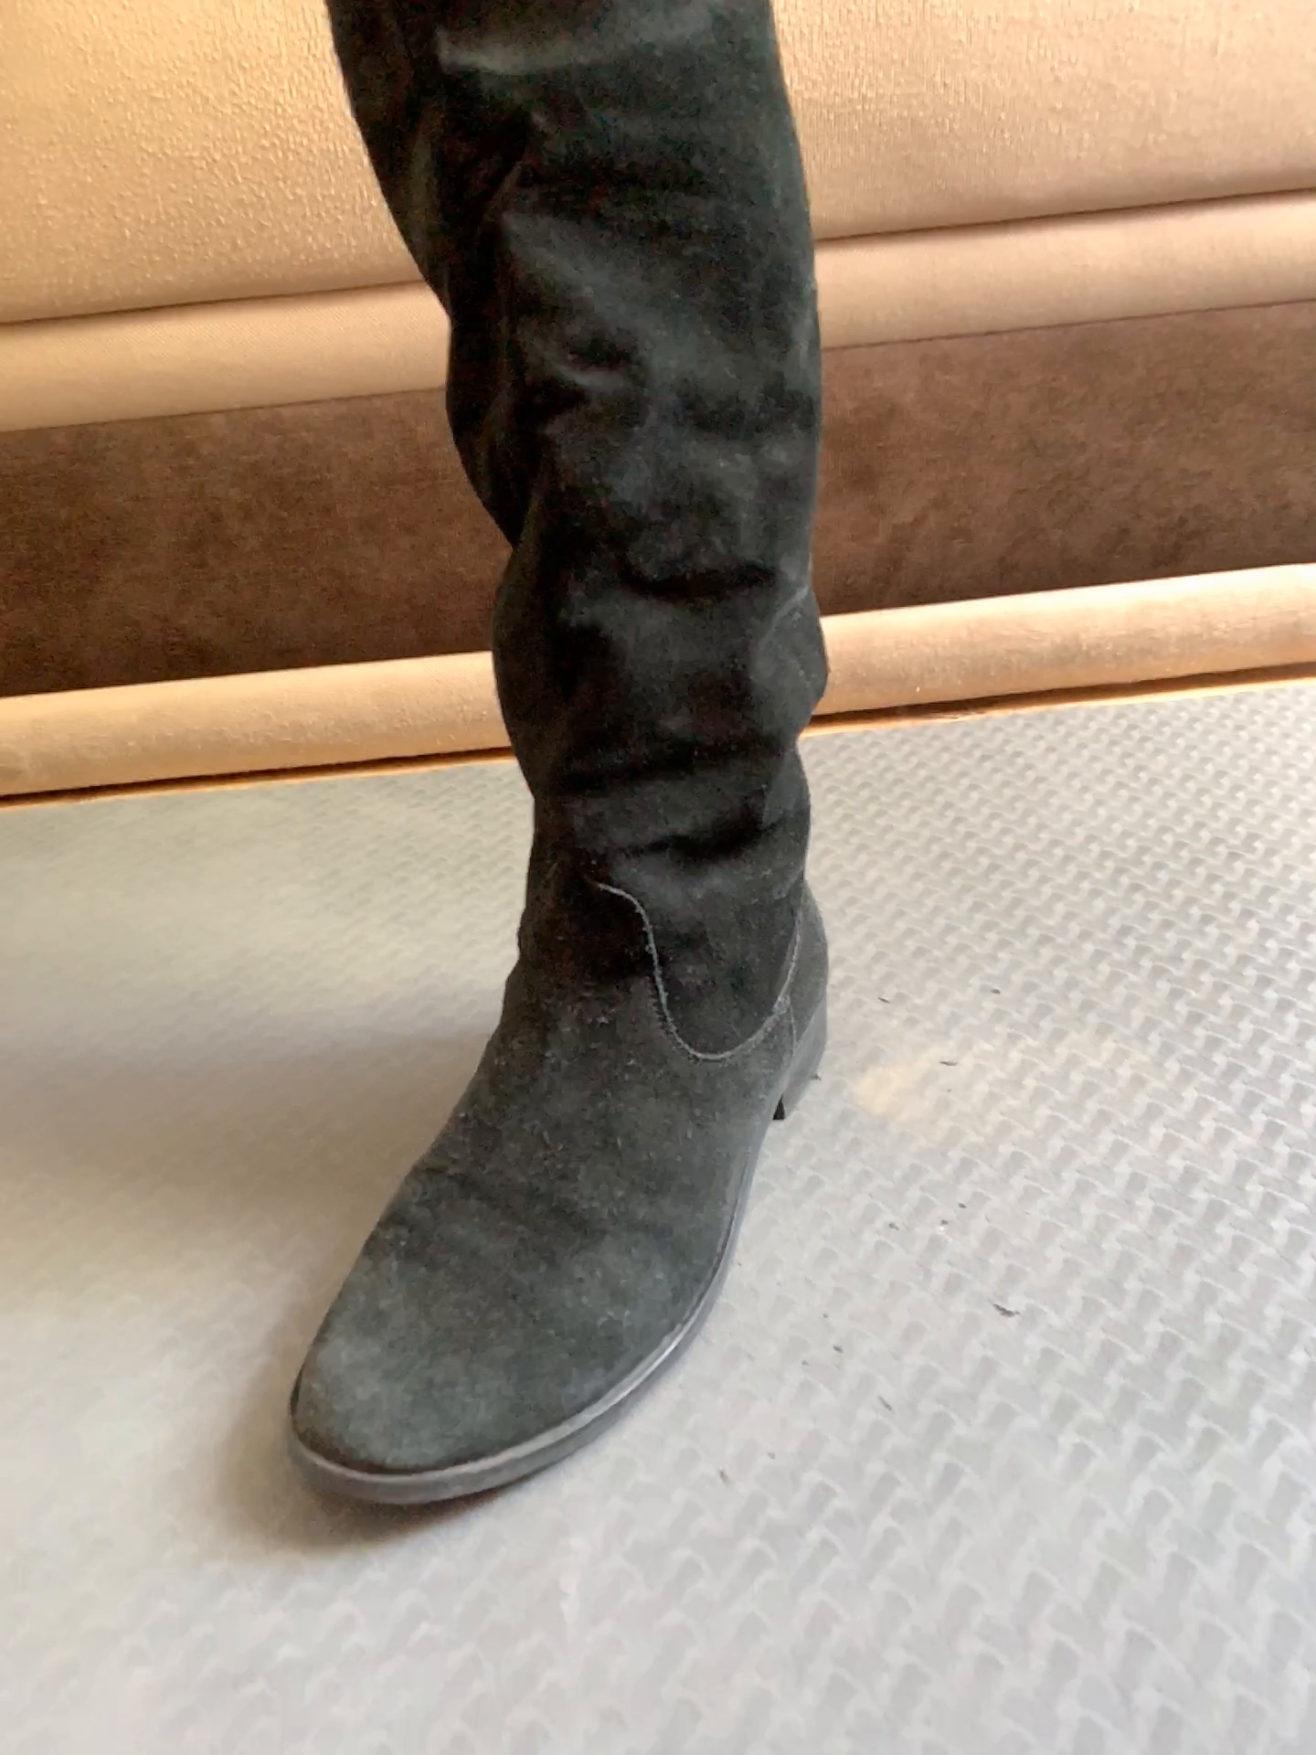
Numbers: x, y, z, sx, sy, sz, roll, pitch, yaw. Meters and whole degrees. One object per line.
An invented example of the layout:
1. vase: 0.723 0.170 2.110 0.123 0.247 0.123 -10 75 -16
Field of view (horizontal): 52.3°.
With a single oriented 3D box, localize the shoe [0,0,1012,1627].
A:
1. shoe: -0.016 -0.093 0.352 0.130 0.378 0.321 8 28 28
